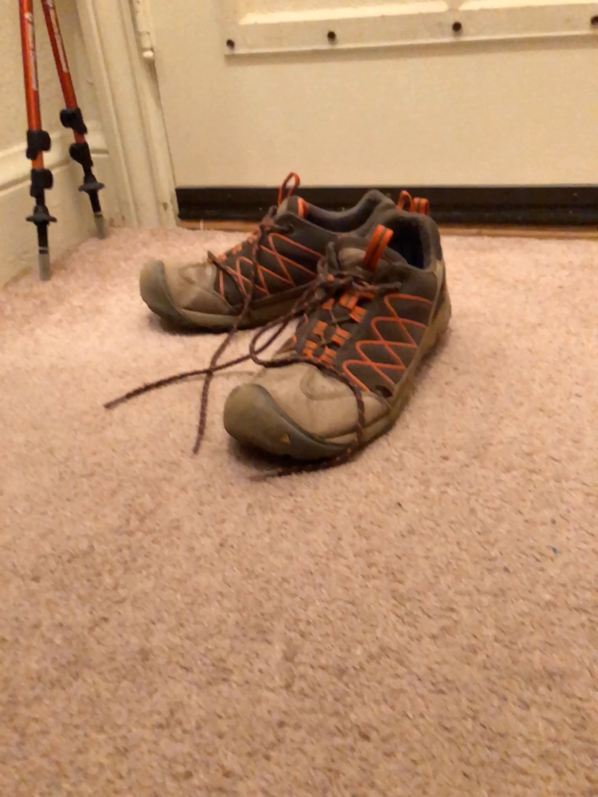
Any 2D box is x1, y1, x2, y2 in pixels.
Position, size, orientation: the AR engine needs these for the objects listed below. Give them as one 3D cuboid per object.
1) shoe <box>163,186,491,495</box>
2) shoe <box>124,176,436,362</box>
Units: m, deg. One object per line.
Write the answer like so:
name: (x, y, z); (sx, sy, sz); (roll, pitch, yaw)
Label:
shoe: (0.041, -0.068, 0.540); (0.120, 0.129, 0.271); (18, 39, 32)
shoe: (-0.018, -0.145, 0.713); (0.300, 0.129, 0.121); (-8, 32, -4)
